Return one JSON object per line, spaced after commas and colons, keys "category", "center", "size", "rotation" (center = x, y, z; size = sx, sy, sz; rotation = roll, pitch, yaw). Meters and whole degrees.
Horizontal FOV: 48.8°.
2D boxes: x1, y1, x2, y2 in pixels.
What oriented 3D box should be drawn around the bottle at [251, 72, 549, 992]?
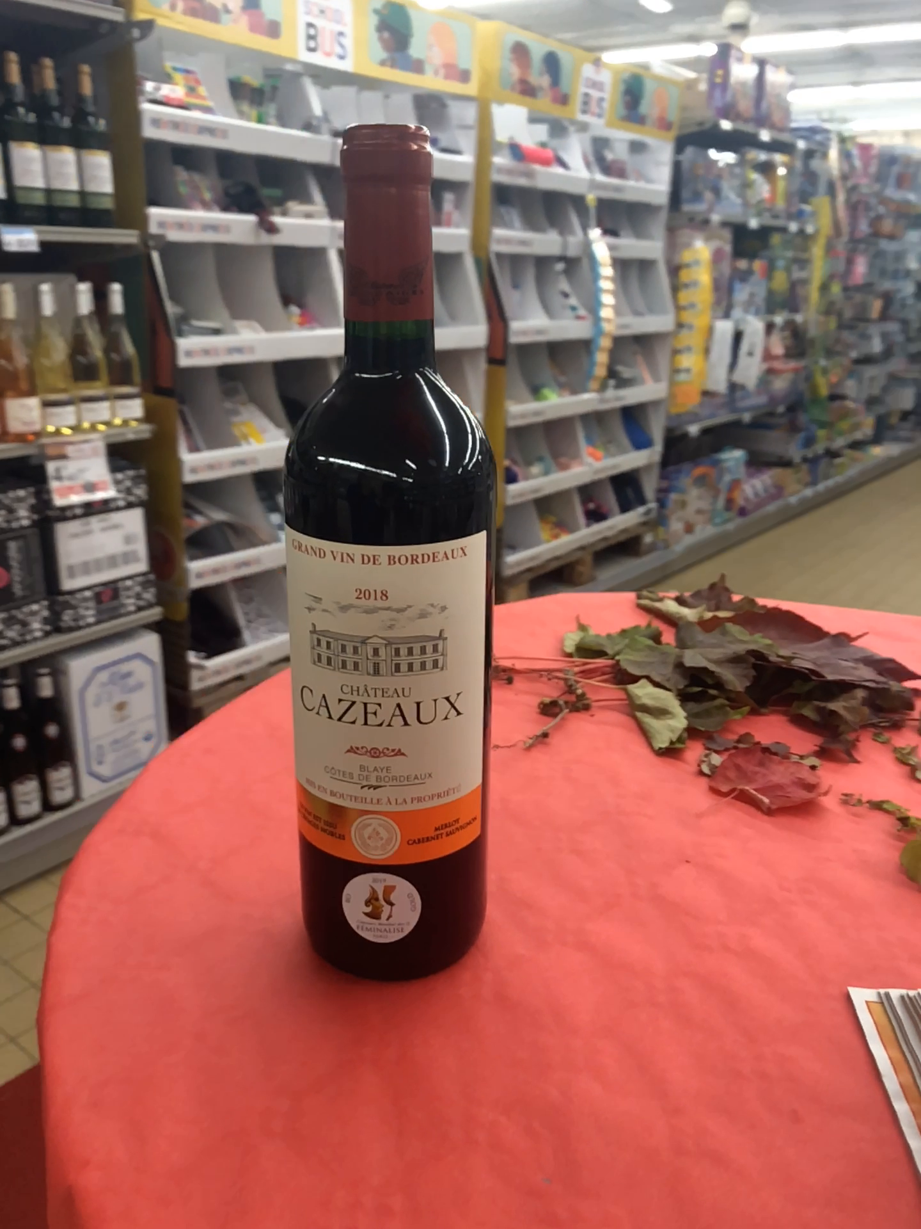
{"category": "bottle", "center": [-0.019, -0.020, 0.364], "size": [0.080, 0.299, 0.080], "rotation": [2, 19, -1]}
